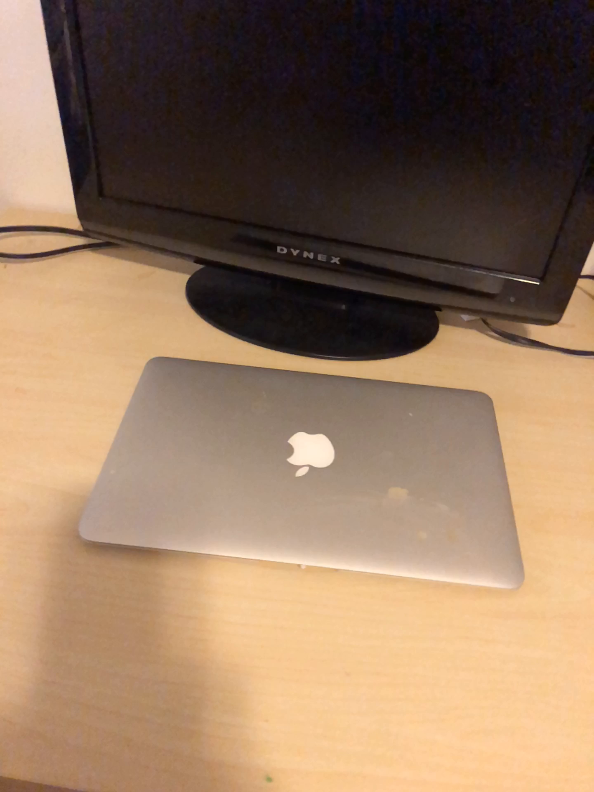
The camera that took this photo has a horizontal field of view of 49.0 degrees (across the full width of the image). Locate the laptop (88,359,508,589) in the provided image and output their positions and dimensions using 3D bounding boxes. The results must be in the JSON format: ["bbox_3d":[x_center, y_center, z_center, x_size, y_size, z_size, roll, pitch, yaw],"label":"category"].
[{"bbox_3d":[0.009,0.048,0.496,0.278,0.005,0.182,7,43,0],"label":"laptop"}]
